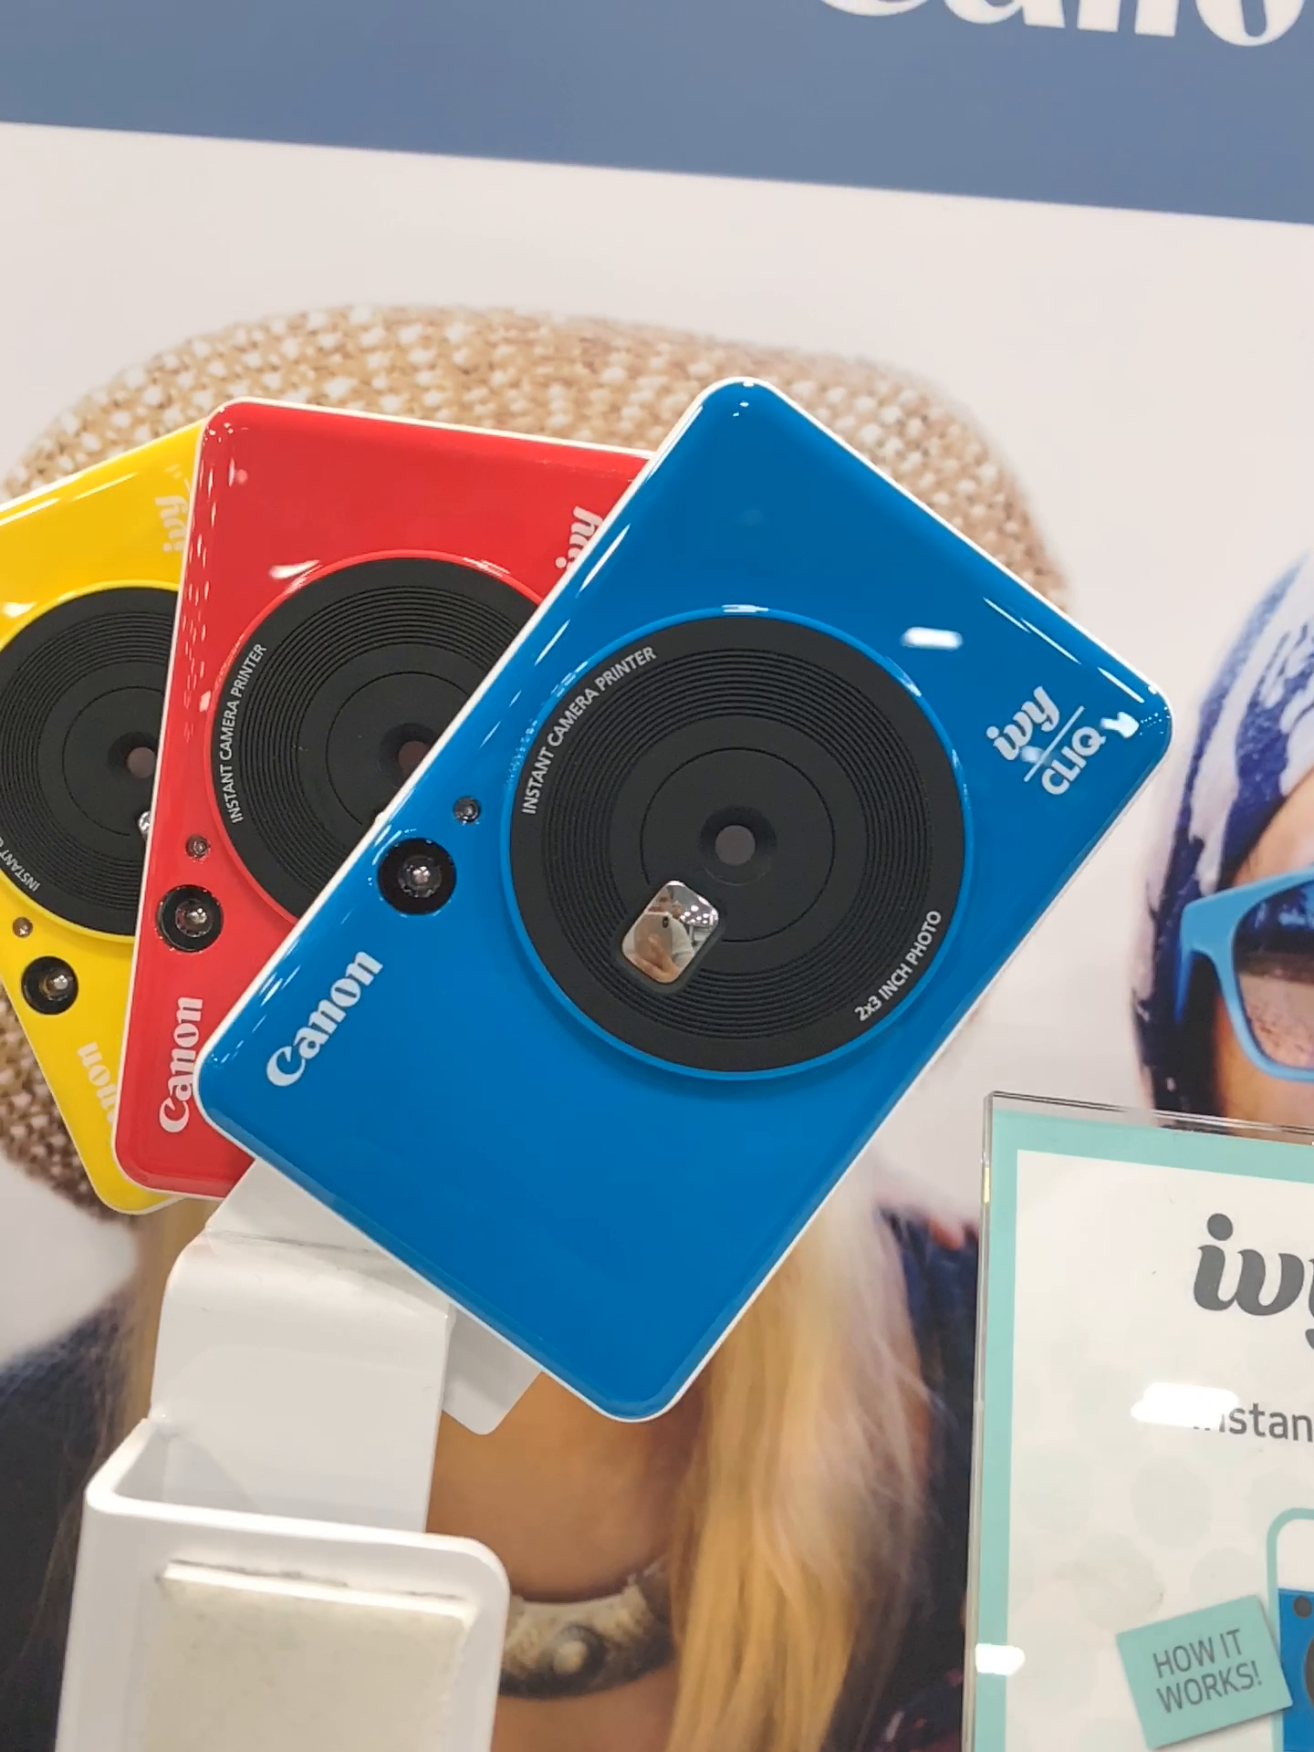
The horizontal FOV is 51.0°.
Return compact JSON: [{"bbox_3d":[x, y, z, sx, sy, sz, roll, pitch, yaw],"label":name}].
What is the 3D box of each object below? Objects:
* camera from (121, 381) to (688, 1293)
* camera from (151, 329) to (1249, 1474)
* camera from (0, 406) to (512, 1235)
[{"bbox_3d":[-0.038,-0.006,0.213,0.067,0.123,0.030,8,6,3],"label":"camera"},{"bbox_3d":[0.005,0.004,0.179,0.078,0.114,0.030,38,2,-4],"label":"camera"},{"bbox_3d":[-0.082,-0.008,0.244,0.068,0.123,0.030,-20,8,7],"label":"camera"}]
